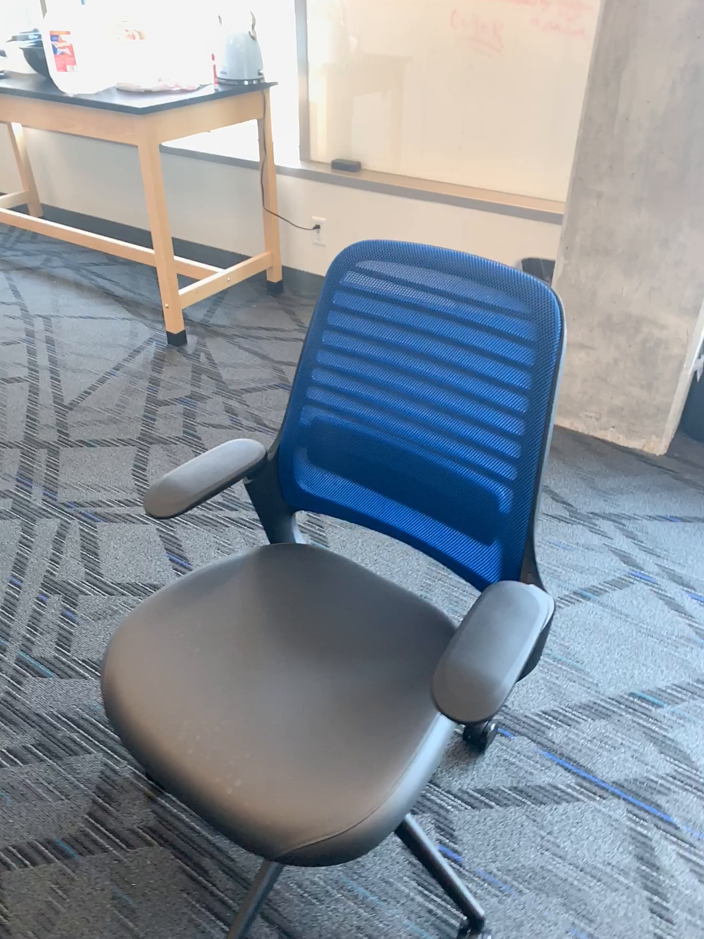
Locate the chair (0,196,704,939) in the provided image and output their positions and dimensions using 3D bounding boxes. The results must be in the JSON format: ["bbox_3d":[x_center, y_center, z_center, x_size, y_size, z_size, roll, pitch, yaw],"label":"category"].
[{"bbox_3d":[-0.046,0.206,1.001,0.702,0.882,0.684,21,40,27],"label":"chair"}]
